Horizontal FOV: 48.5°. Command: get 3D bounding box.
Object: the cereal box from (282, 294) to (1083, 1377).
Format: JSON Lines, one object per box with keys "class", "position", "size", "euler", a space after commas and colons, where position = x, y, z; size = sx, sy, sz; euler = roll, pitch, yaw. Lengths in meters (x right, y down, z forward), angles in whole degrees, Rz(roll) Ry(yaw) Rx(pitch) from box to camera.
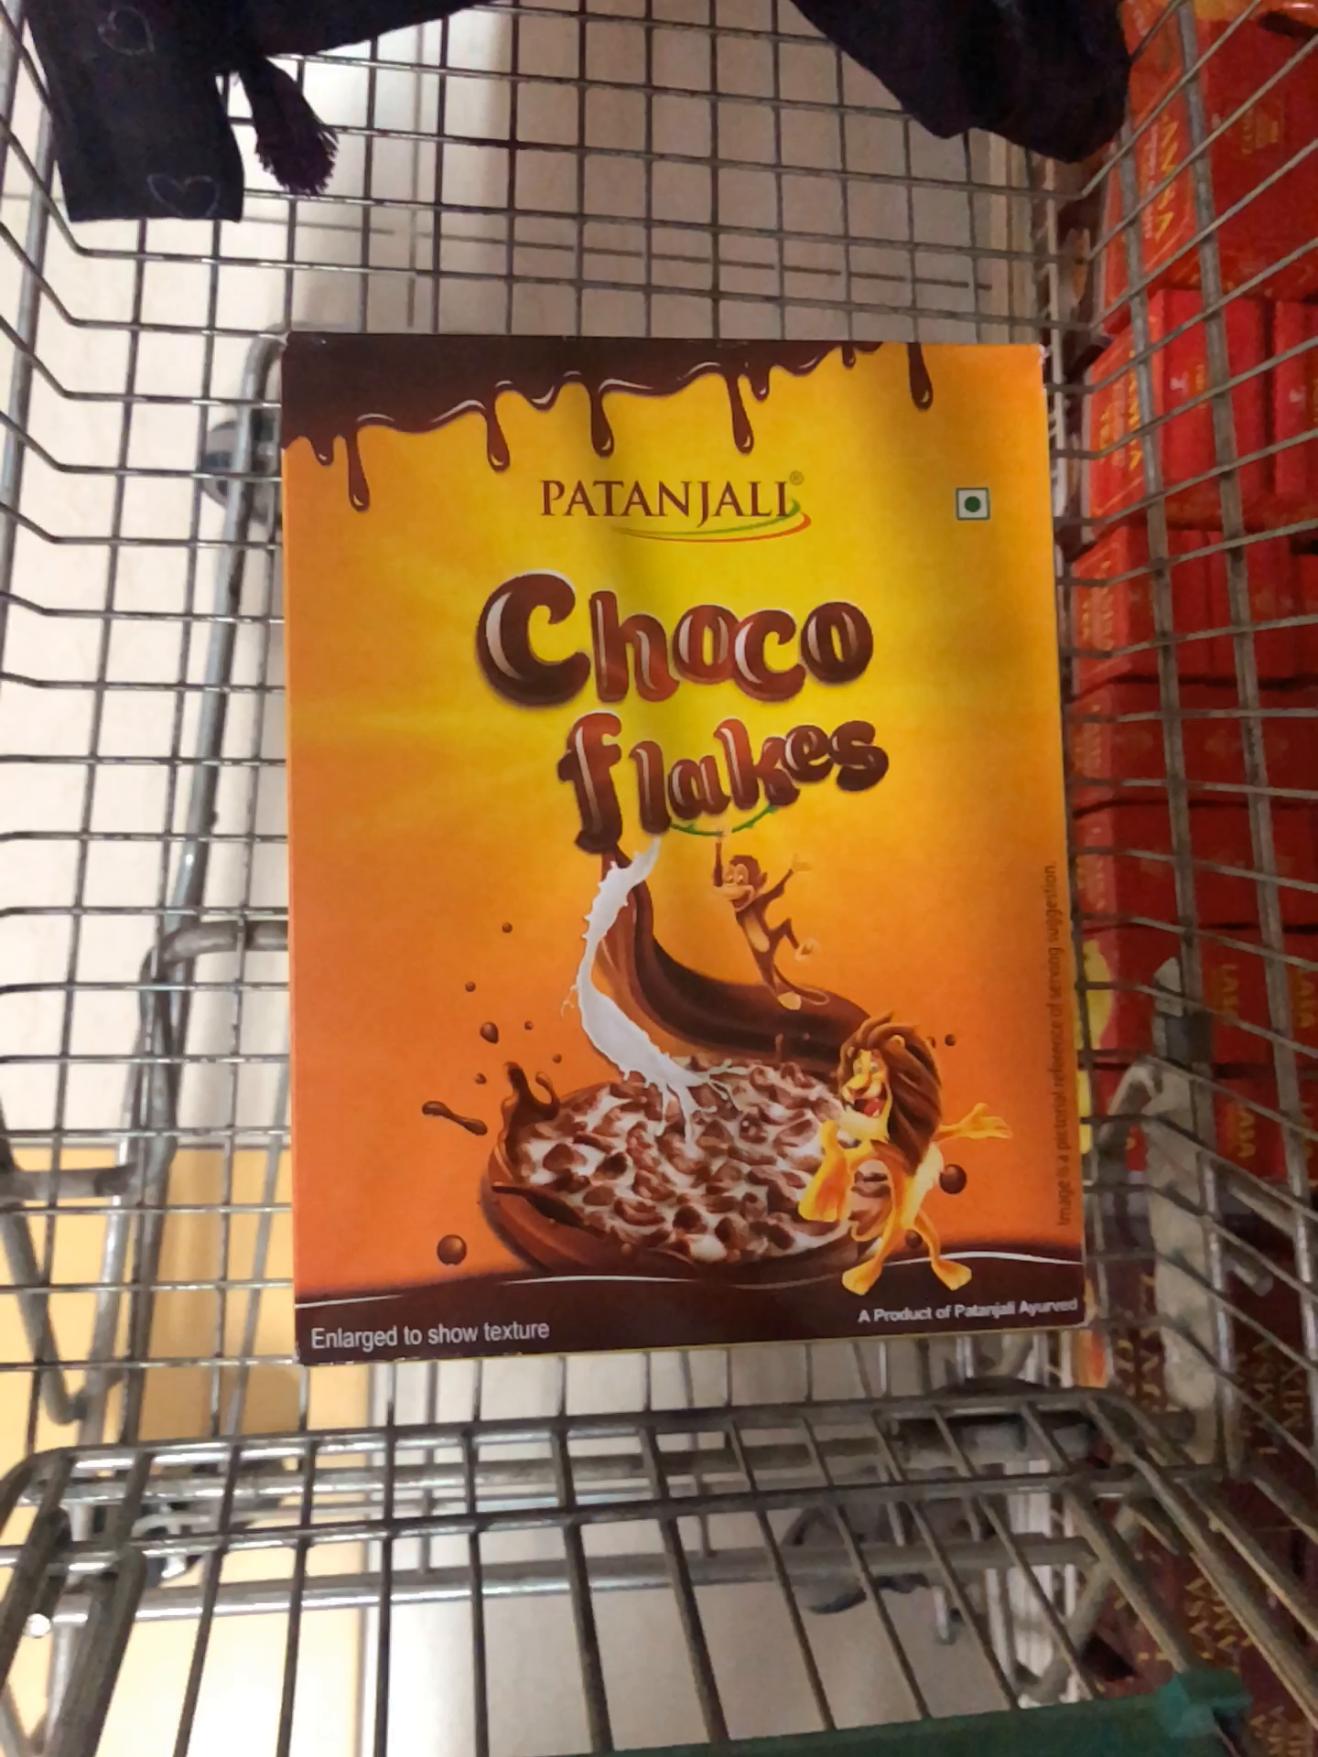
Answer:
{"class": "cereal box", "position": [0.000, -0.010, 0.374], "size": [0.170, 0.110, 0.230], "euler": [-1, 87, -7]}
